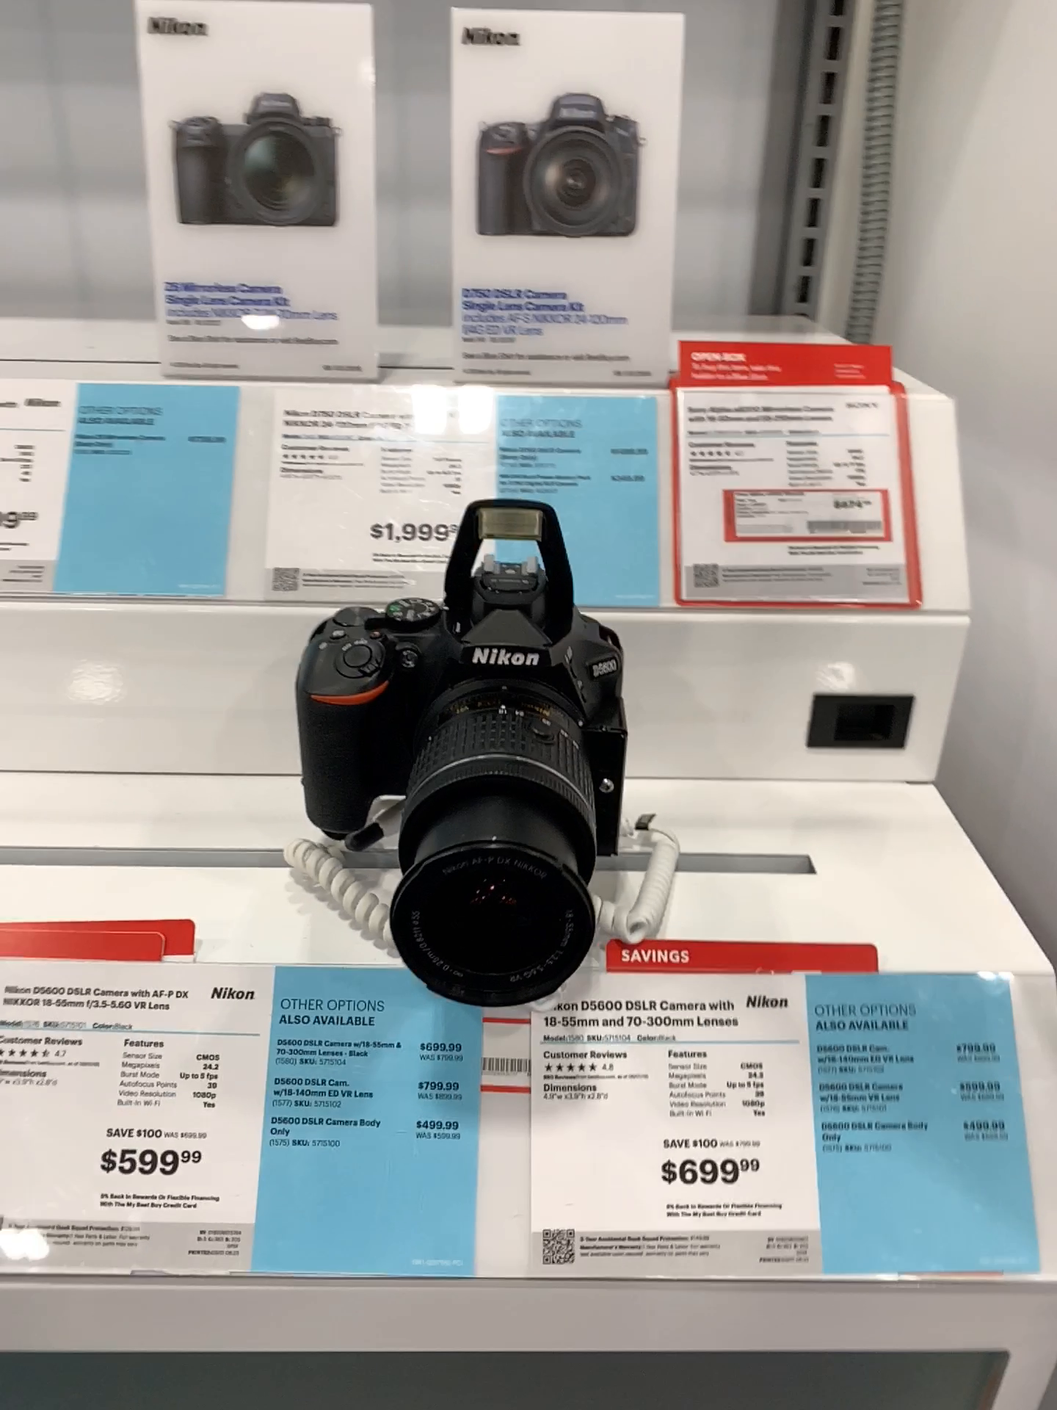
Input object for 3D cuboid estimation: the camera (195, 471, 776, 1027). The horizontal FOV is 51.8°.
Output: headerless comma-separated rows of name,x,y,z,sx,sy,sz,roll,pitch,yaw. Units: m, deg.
camera,-0.017,-0.002,0.371,0.140,0.109,0.191,-1,26,-4
